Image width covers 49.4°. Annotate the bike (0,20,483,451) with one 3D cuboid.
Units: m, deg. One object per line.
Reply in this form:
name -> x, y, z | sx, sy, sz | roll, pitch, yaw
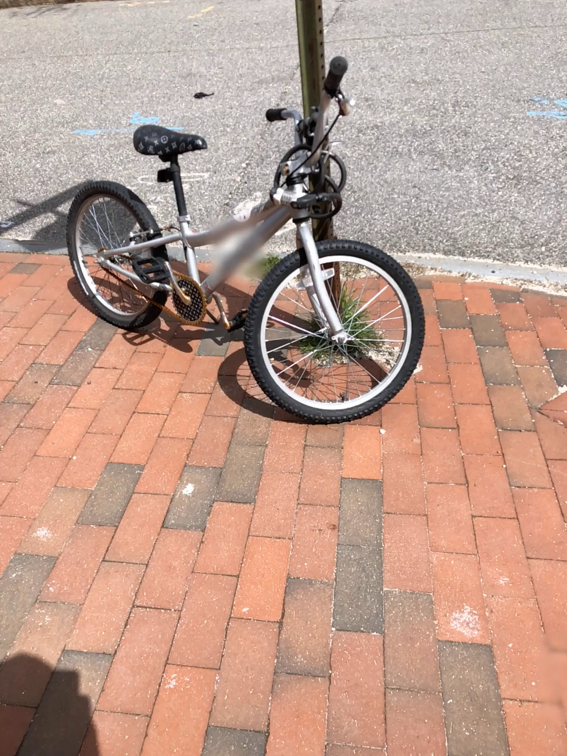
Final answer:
bike -> -0.208, -0.491, 1.746 | 1.209, 0.831, 0.719 | 15, 39, 25
